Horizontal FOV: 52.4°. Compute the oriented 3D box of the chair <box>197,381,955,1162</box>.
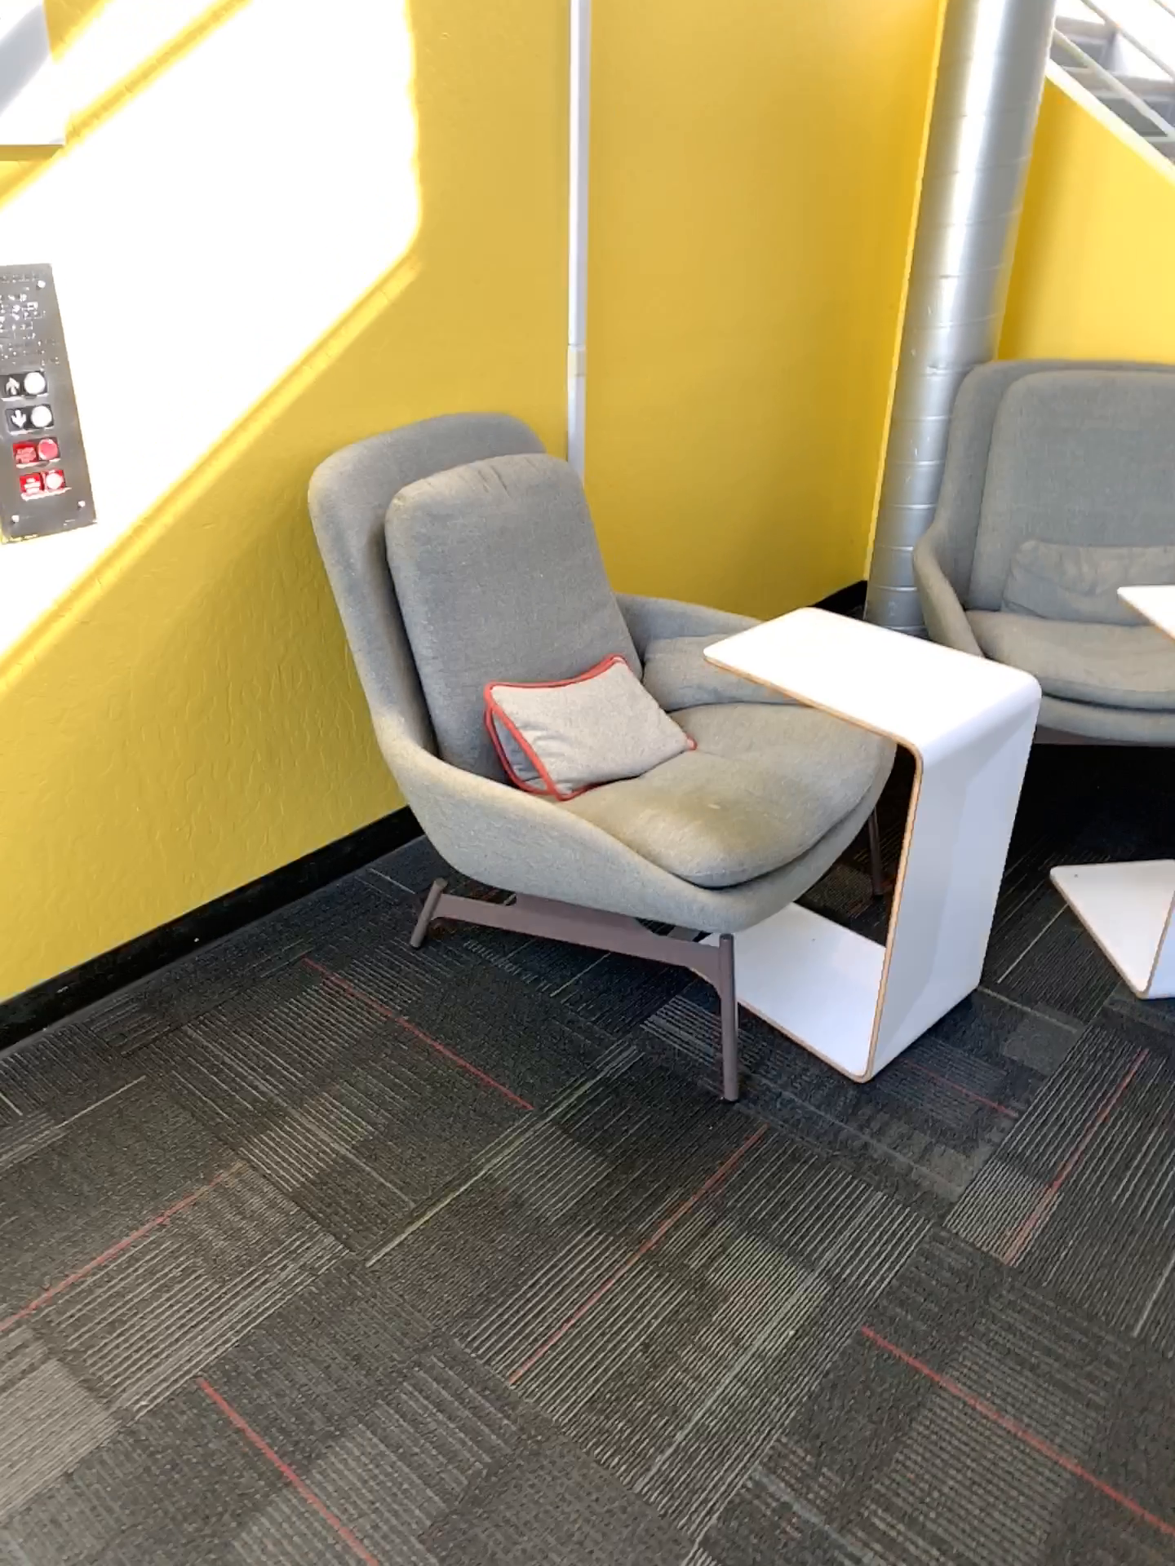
[{"bbox_3d":[0.022,-0.120,2.039,0.872,0.925,0.802,15,31,29],"label":"chair"}]

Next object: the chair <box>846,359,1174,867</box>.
[{"bbox_3d":[1.213,-0.453,2.926,0.890,1.015,0.844,-1,25,-1],"label":"chair"}]
